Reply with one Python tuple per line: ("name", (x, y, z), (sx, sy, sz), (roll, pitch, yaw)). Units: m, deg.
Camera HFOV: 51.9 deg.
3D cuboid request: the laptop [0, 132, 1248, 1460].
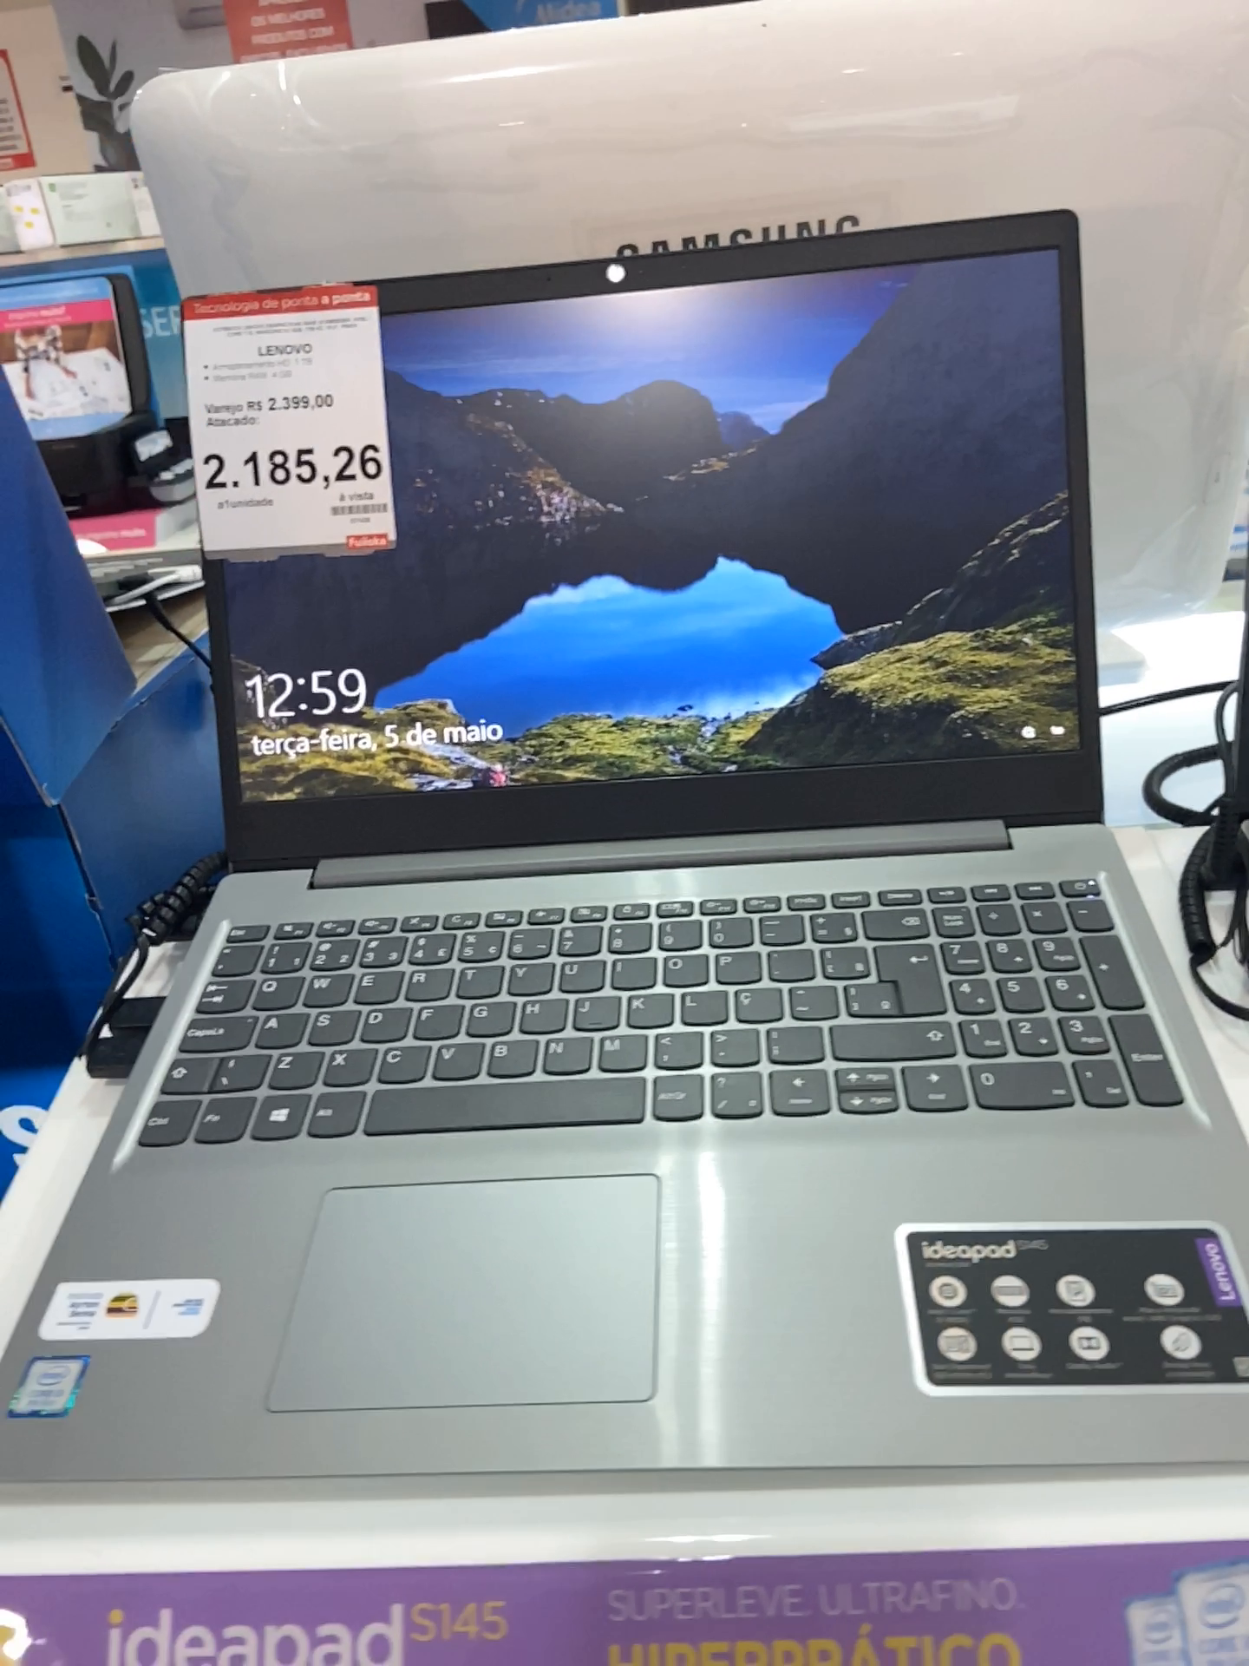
("laptop", (-0.006, -0.060, 0.428), (0.358, 0.212, 0.390), (-4, 34, 6))
